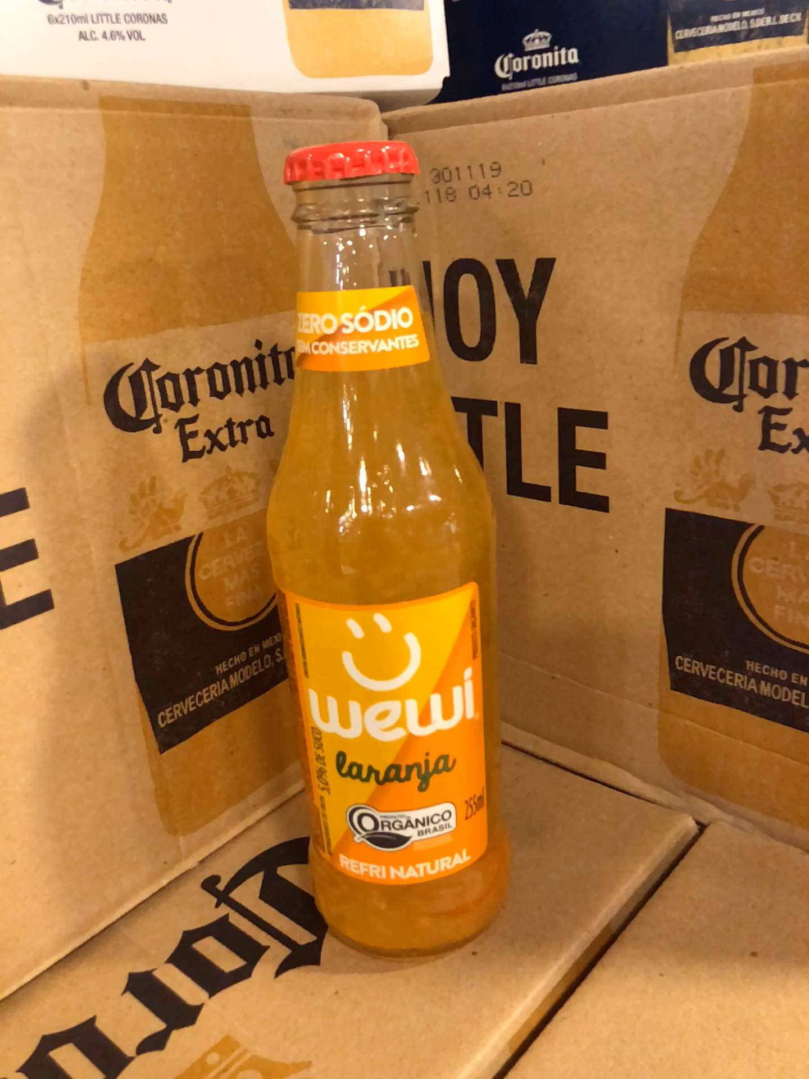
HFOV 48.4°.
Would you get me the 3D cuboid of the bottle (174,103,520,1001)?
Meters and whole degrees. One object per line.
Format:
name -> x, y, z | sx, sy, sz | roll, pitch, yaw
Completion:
bottle -> -0.006, 0.010, 0.228 | 0.060, 0.209, 0.060 | -3, 19, 1
